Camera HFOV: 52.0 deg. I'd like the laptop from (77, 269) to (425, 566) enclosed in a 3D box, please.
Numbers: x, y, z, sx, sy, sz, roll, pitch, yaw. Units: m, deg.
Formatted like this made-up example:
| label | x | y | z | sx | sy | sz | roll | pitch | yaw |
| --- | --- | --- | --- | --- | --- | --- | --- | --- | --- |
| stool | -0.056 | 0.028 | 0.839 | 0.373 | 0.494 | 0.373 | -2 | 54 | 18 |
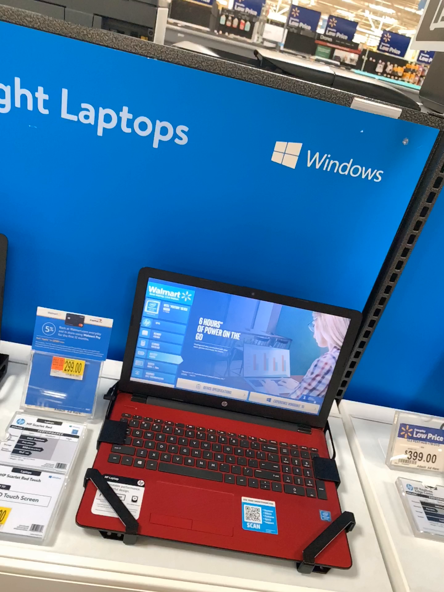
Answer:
| label | x | y | z | sx | sy | sz | roll | pitch | yaw |
| --- | --- | --- | --- | --- | --- | --- | --- | --- | --- |
| laptop | 0.025 | 0.159 | 0.657 | 0.364 | 0.223 | 0.280 | 12 | 30 | -5 |
